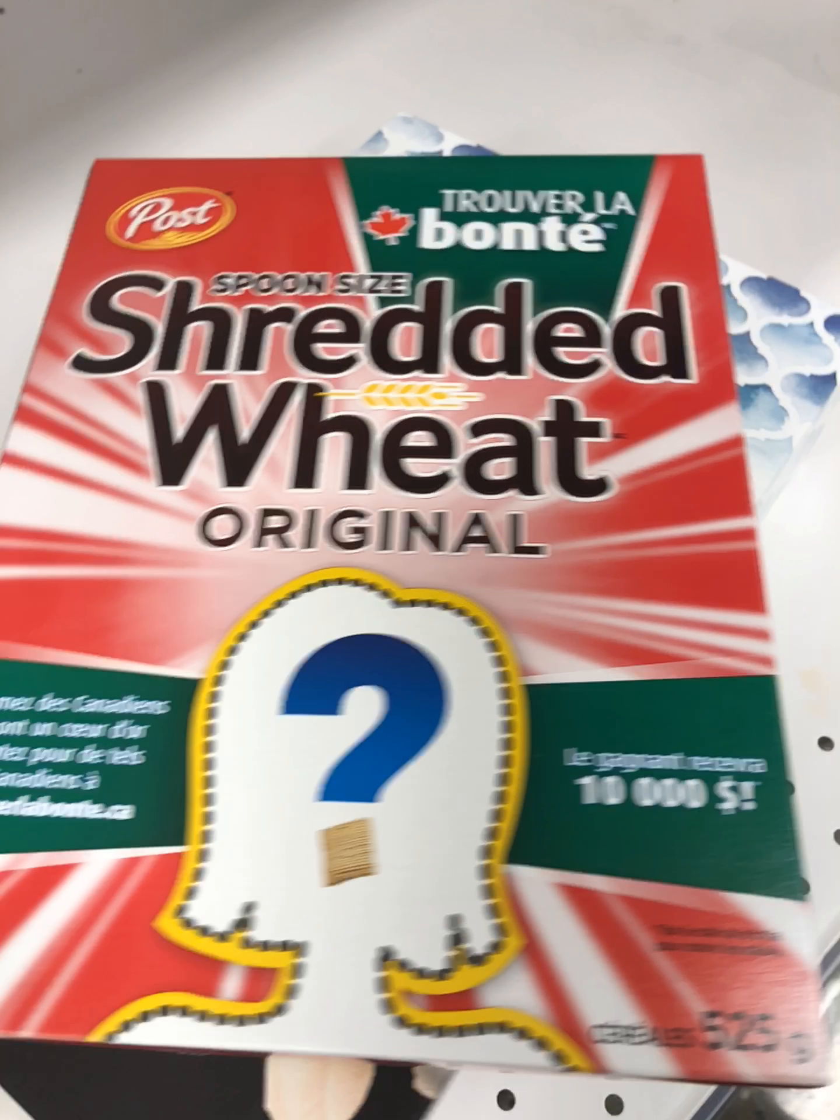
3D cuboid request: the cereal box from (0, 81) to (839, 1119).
[{"bbox_3d":[-0.018,-0.012,0.259,0.230,0.060,0.280,1,61,5],"label":"cereal box"}]
